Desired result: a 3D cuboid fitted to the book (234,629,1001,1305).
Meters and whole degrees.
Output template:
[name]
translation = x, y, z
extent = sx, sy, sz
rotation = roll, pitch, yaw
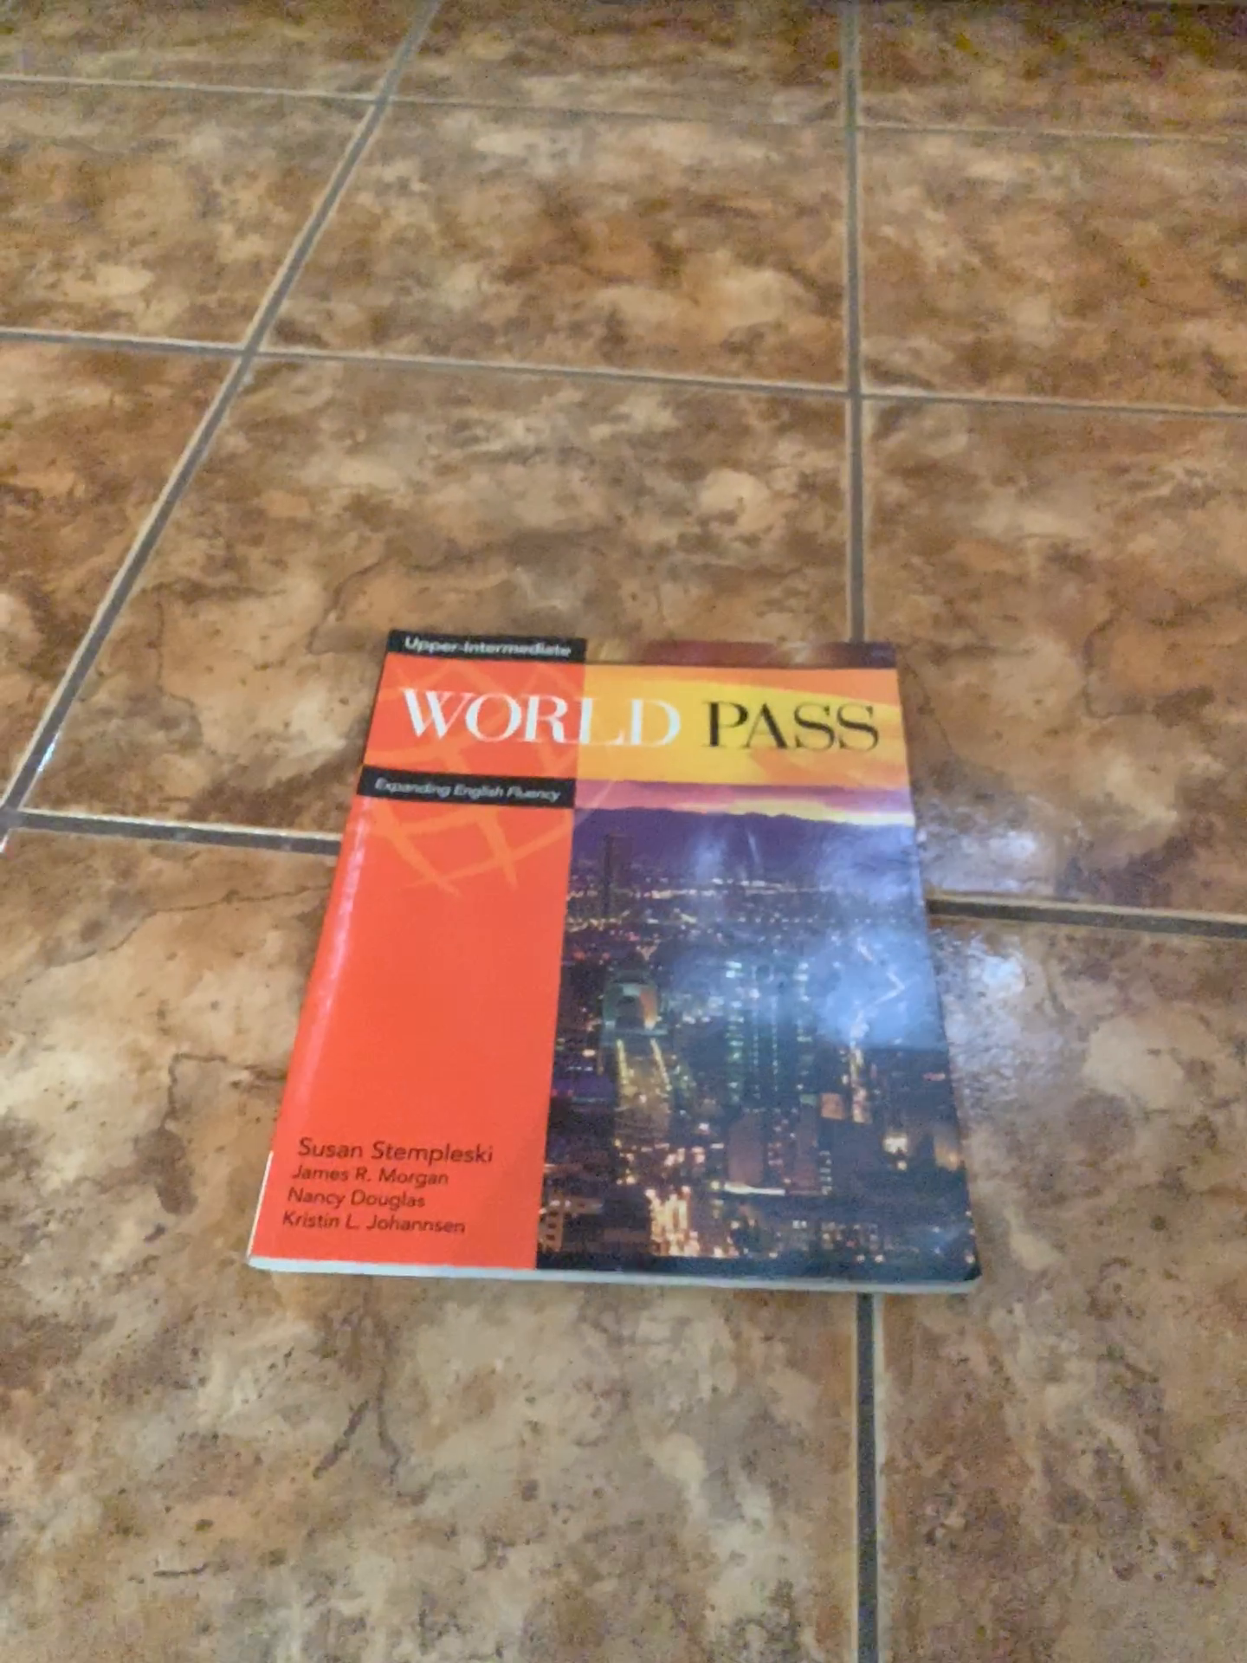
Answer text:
[book]
translation = 0.002, 0.027, 0.461
extent = 0.219, 0.016, 0.272
rotation = 2, 50, 1
